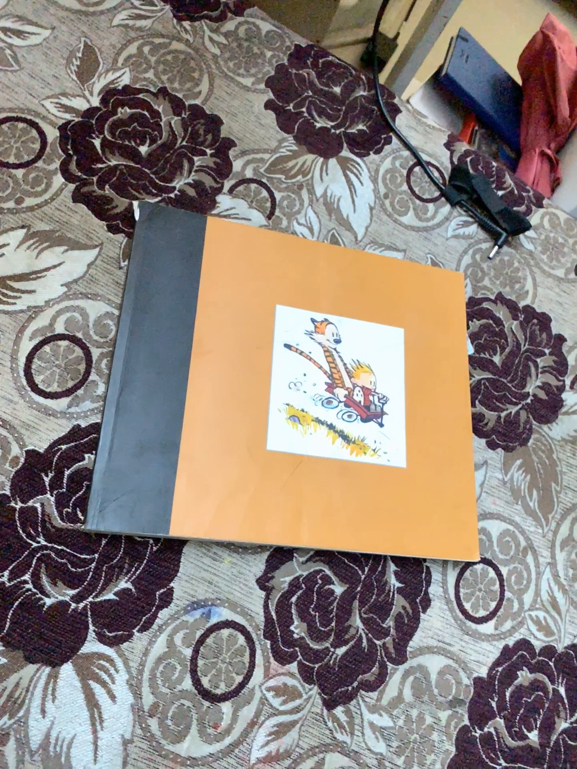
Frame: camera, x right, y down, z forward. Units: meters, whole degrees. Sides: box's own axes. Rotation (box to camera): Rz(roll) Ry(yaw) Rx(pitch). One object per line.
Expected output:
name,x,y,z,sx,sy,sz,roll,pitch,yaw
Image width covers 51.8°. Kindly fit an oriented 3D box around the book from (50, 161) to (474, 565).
book,-0.005,-0.014,0.432,0.270,0.040,0.261,8,68,-15
